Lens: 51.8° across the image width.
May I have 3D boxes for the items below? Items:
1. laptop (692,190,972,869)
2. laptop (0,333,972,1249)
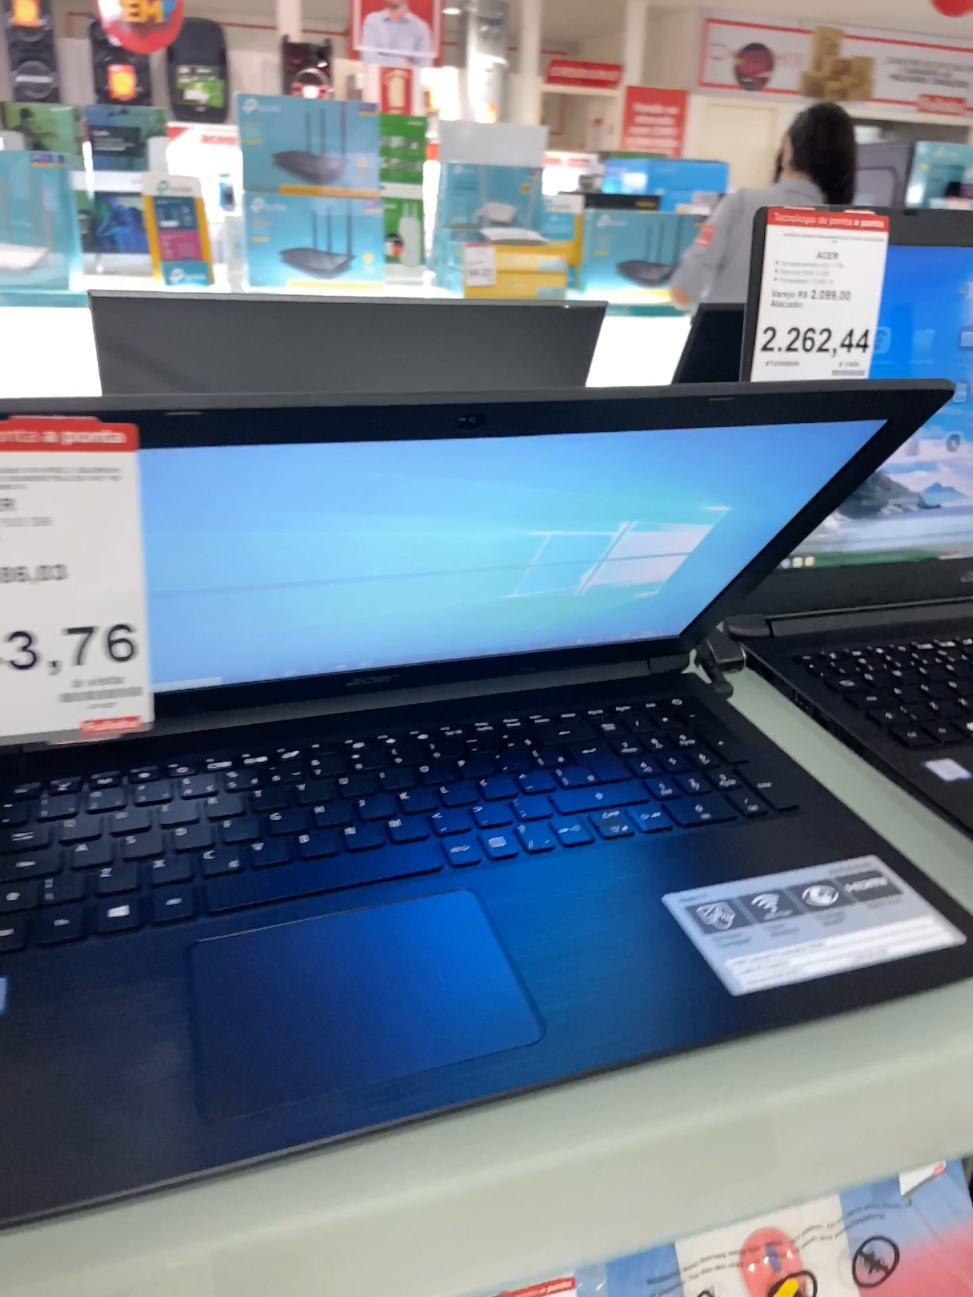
[{"bbox_3d":[0.377,-0.095,0.539,0.399,0.247,0.285,-5,25,-17],"label":"laptop"},{"bbox_3d":[-0.020,-0.003,0.374,0.379,0.185,0.240,-6,26,-18],"label":"laptop"}]
